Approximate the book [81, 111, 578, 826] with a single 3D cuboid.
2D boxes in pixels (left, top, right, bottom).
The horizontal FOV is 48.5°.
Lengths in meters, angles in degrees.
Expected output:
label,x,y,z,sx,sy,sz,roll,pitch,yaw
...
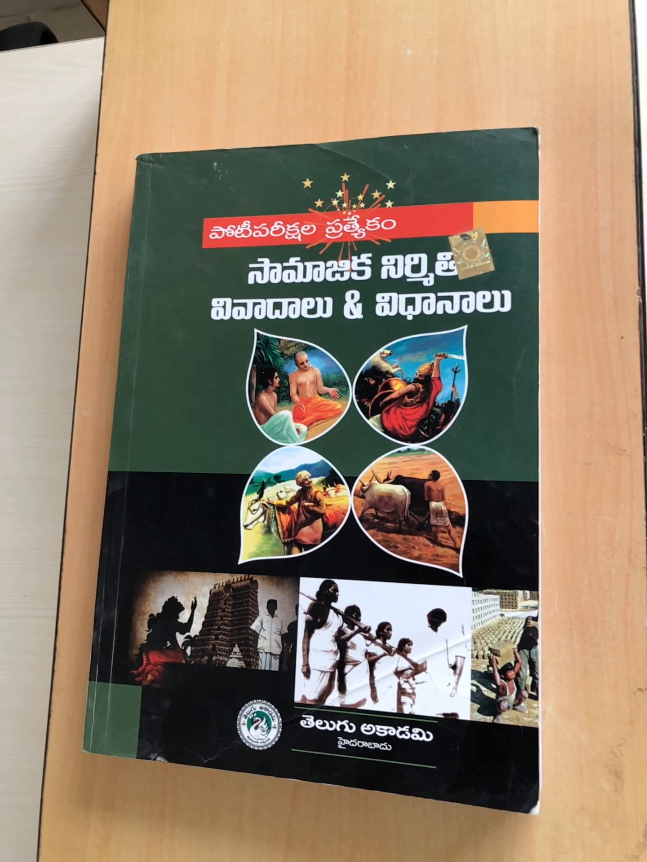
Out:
label,x,y,z,sx,sy,sz,roll,pitch,yaw
book,0.006,0.007,0.314,0.190,0.050,0.270,1,81,12
